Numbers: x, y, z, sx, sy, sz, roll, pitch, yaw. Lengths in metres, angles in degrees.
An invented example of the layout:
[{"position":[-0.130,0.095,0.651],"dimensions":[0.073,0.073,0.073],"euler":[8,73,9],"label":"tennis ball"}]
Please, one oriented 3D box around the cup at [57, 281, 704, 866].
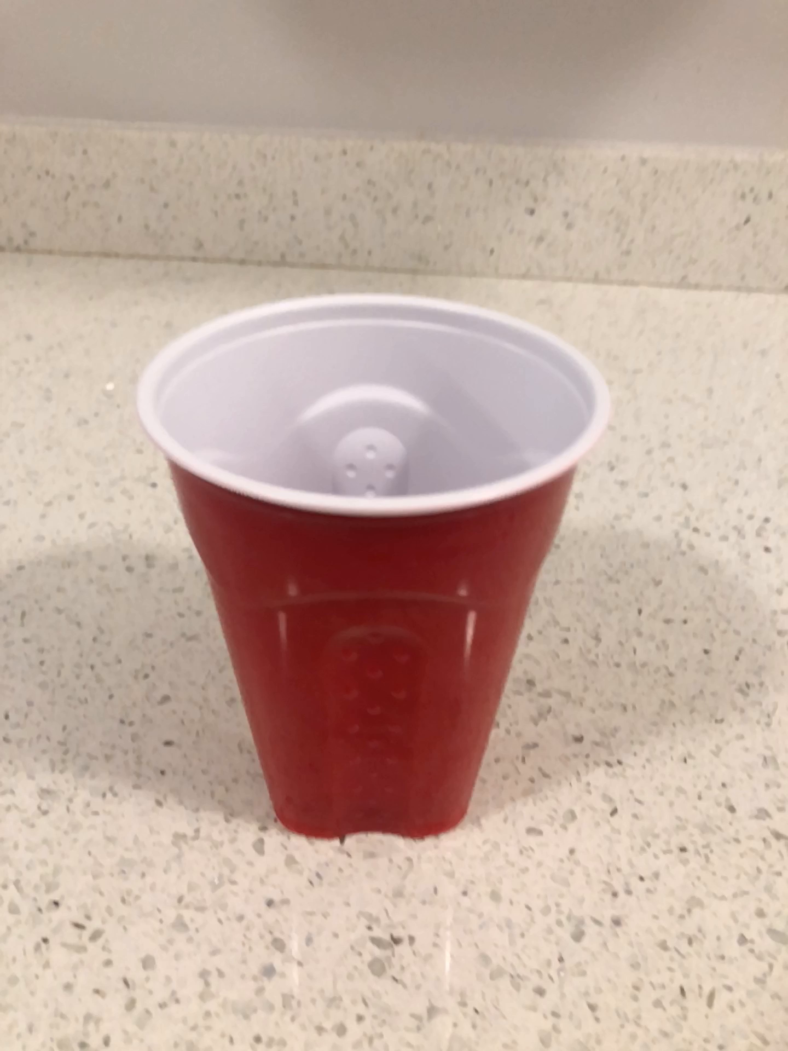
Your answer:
[{"position":[-0.002,0.006,0.204],"dimensions":[0.100,0.092,0.102],"euler":[0,35,0],"label":"cup"}]
